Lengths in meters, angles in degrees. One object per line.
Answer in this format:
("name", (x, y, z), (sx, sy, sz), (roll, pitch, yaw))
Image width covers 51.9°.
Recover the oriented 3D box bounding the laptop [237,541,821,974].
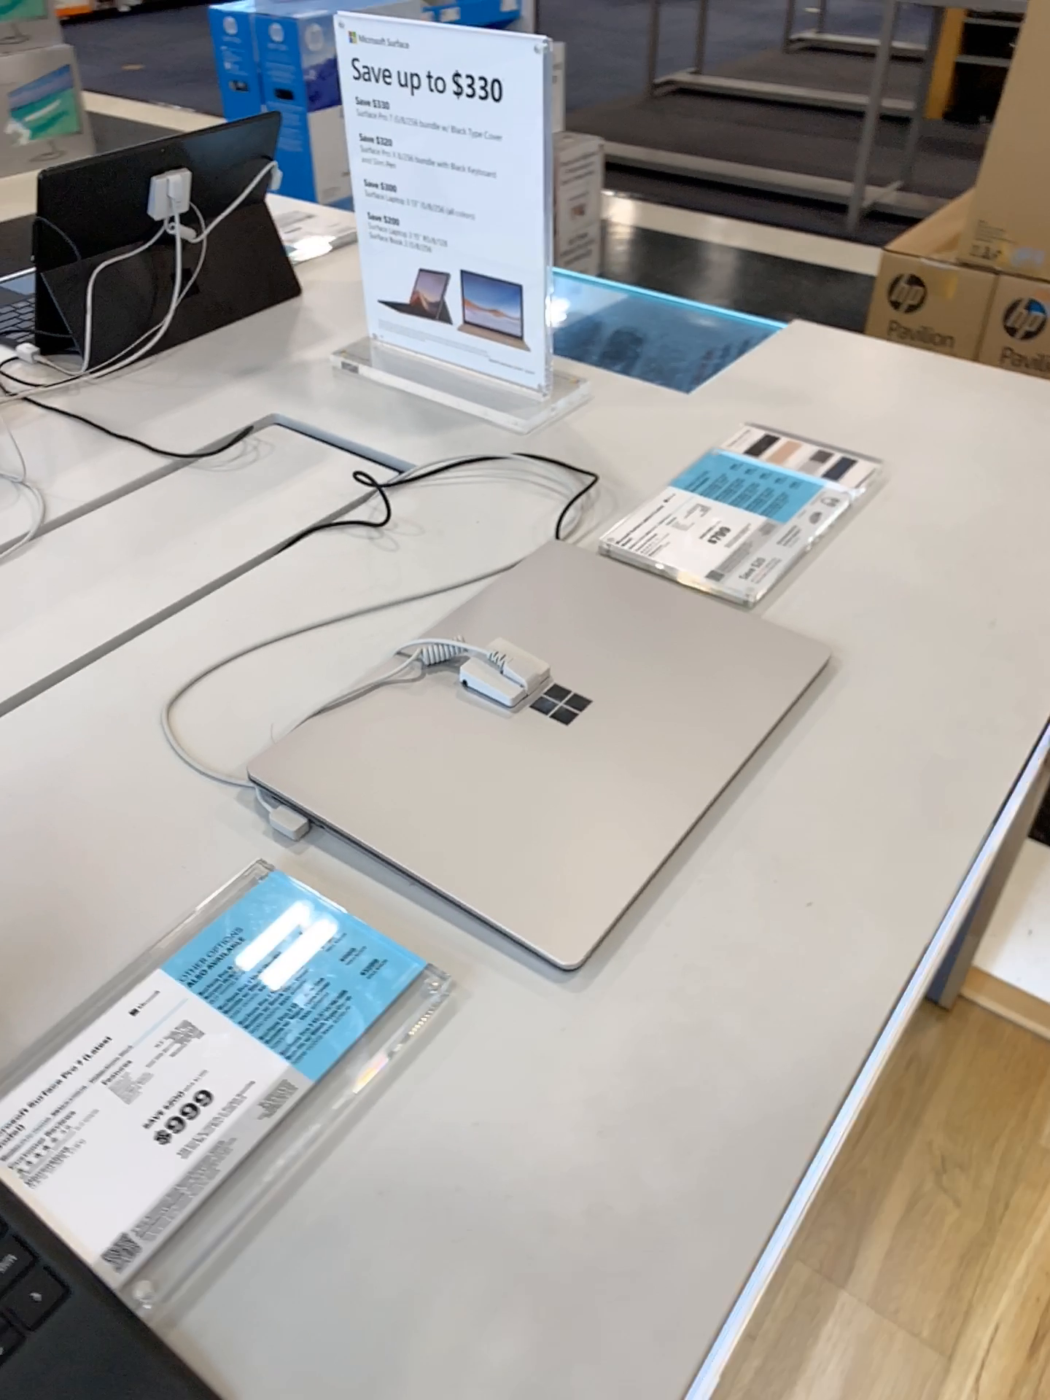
("laptop", (0.016, 0.006, 0.645), (0.221, 0.008, 0.298), (25, 44, 24))
